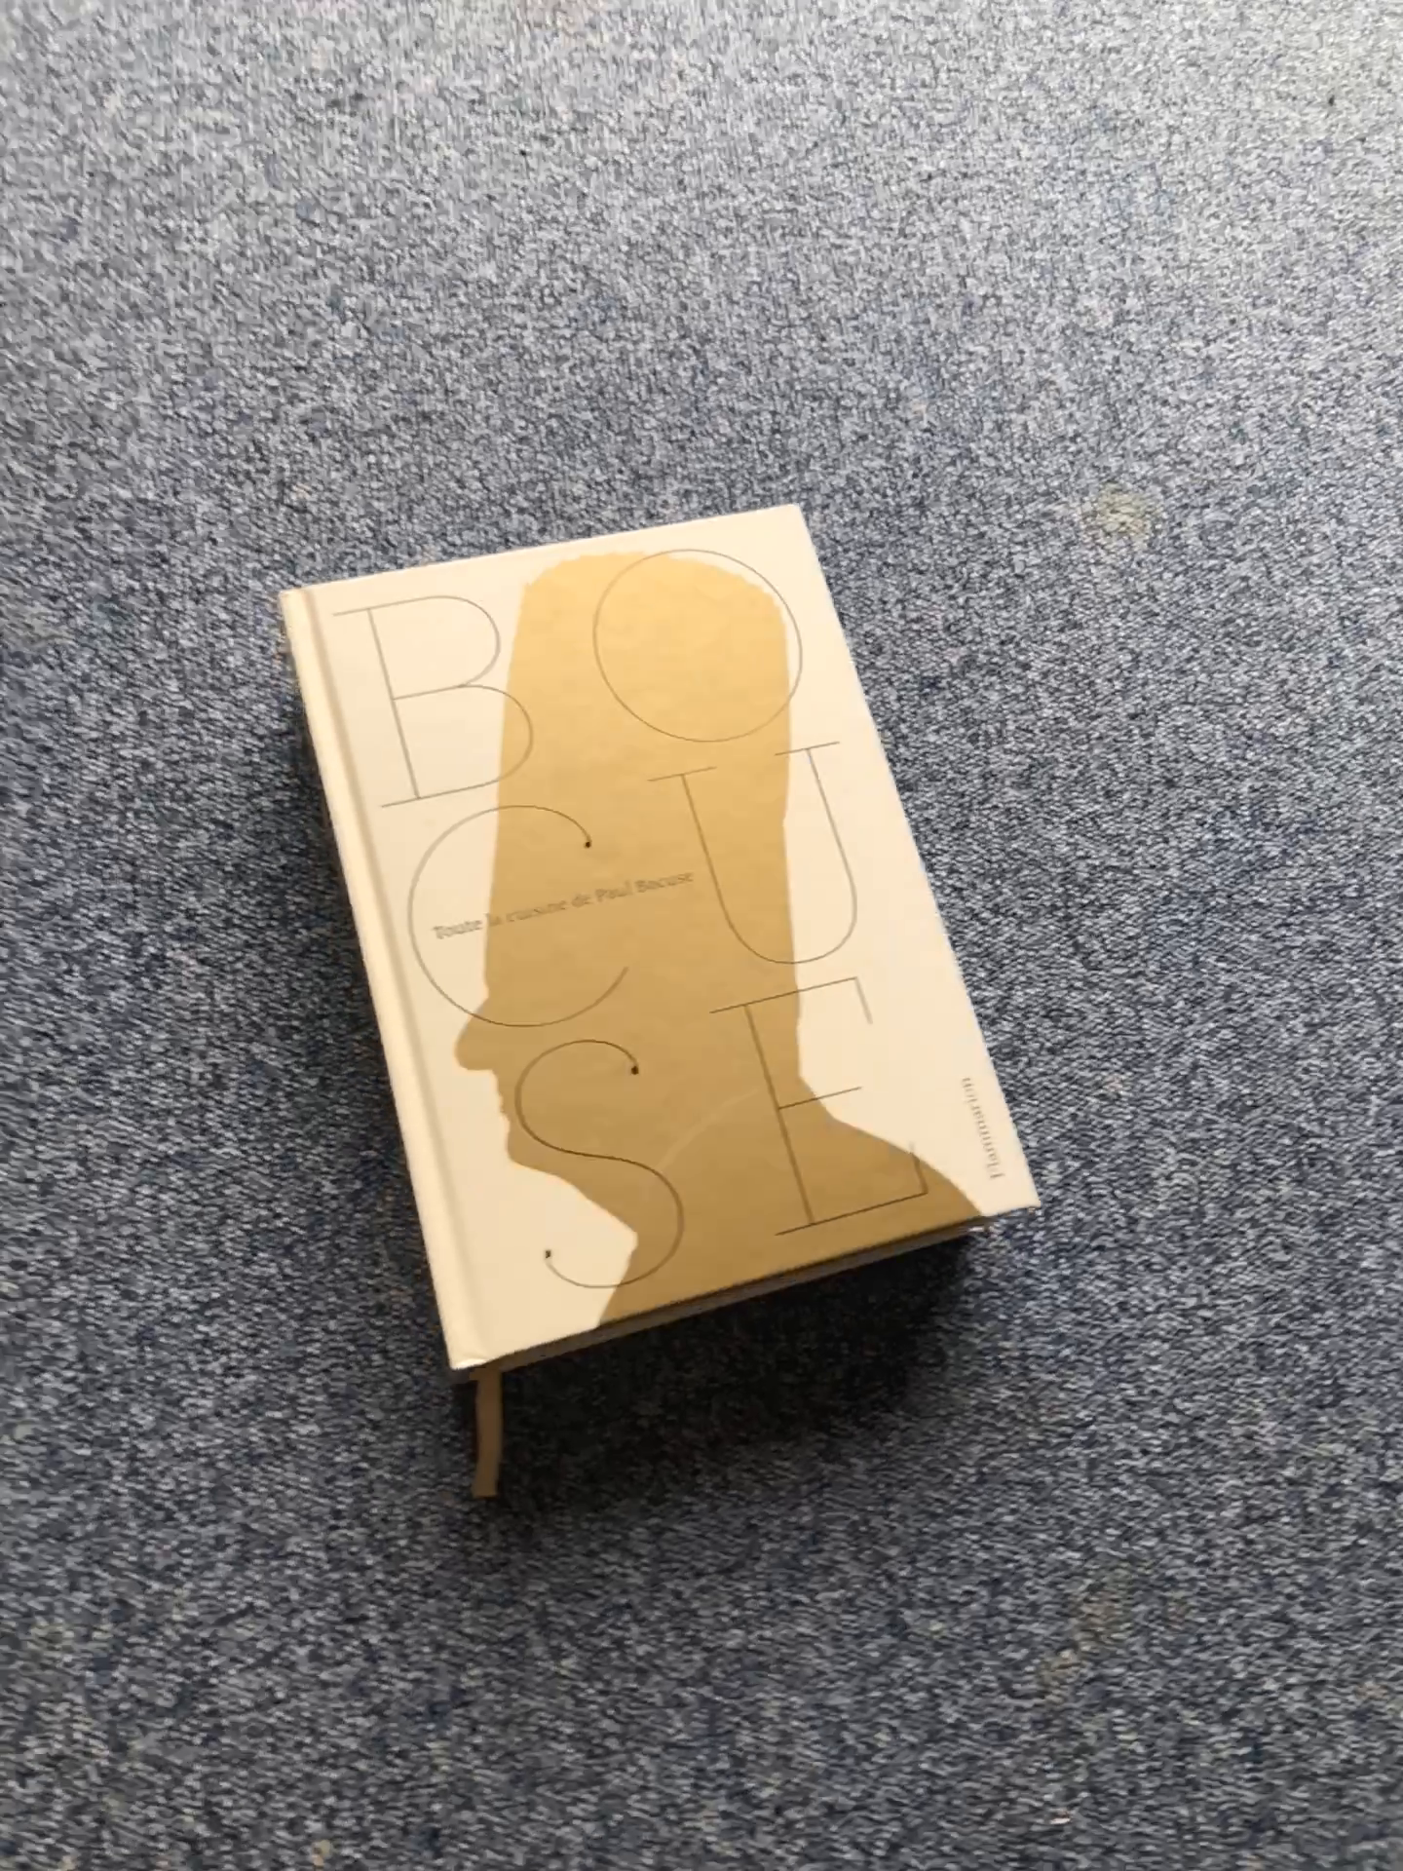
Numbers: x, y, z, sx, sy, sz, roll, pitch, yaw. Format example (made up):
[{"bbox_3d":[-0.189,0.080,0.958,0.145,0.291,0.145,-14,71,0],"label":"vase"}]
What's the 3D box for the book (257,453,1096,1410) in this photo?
[{"bbox_3d":[-0.019,-0.010,0.523,0.200,0.080,0.280,-12,71,-12],"label":"book"}]
